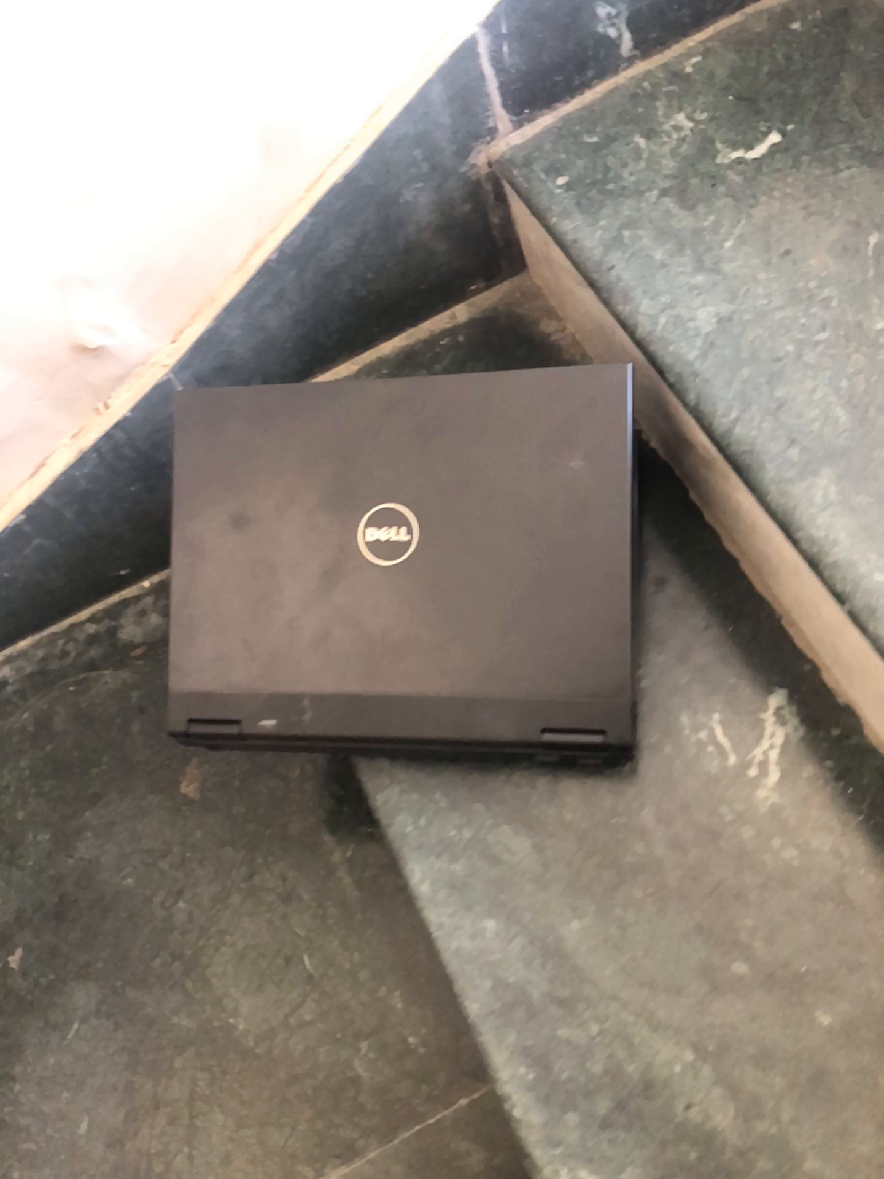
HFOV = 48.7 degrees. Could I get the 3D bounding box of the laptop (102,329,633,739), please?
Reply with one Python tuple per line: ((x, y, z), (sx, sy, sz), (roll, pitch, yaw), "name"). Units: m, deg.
((-0.033, -0.036, 0.629), (0.302, 0.095, 0.233), (0, 64, 13), "laptop")
